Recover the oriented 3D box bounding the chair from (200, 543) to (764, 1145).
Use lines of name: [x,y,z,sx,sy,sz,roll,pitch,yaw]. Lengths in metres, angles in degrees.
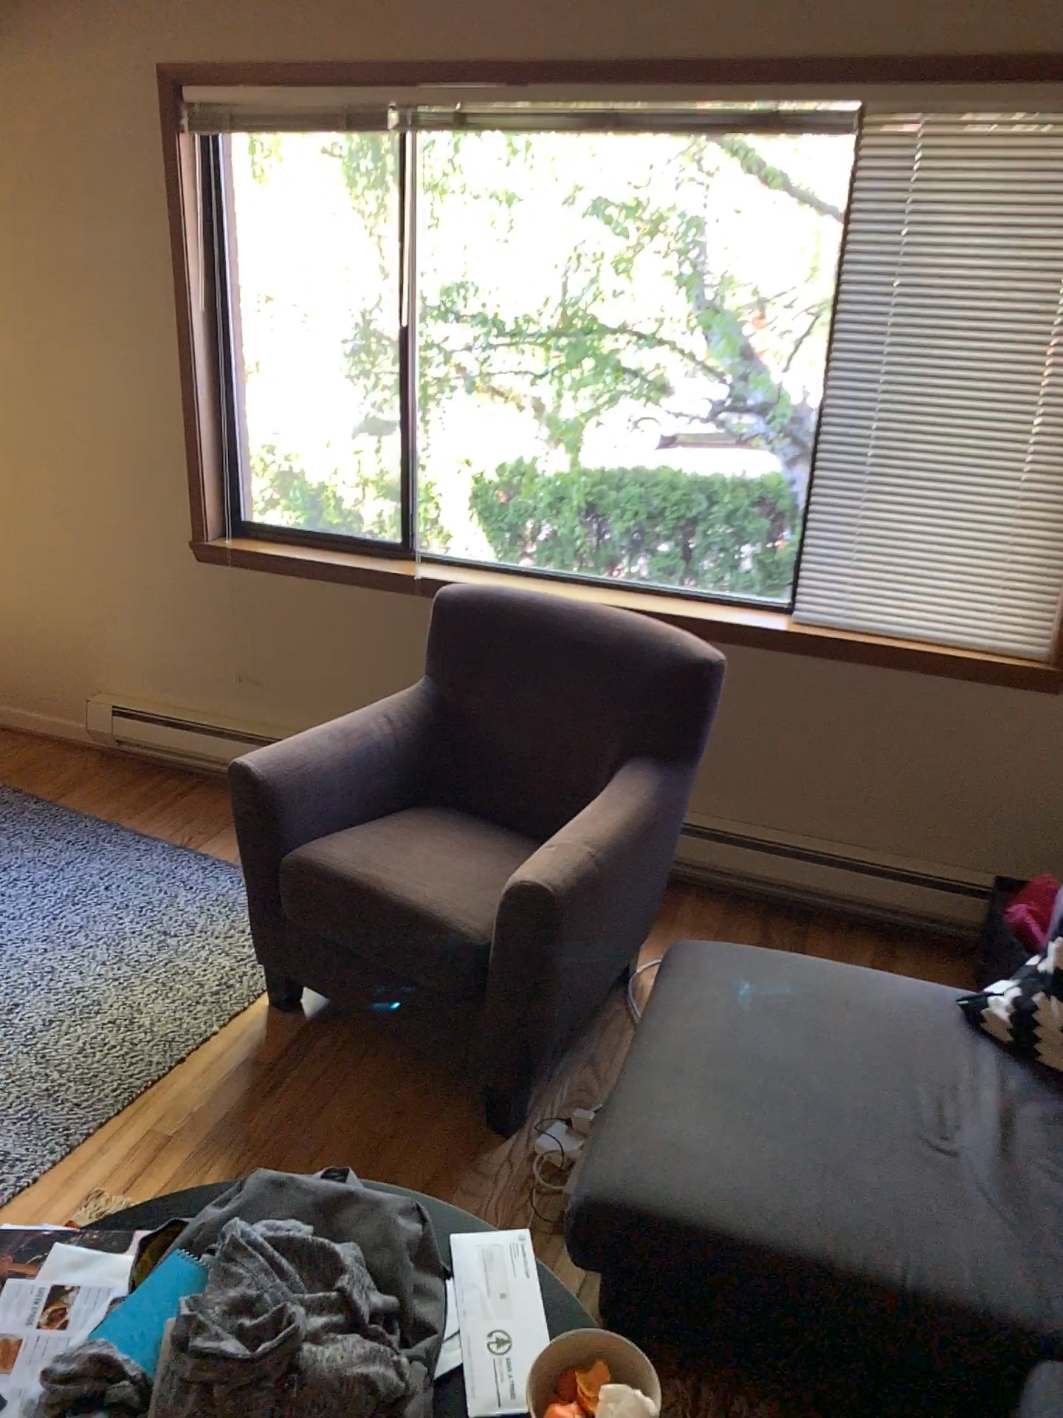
chair: [-0.110,0.192,2.420,0.882,0.876,0.802,17,23,30]
